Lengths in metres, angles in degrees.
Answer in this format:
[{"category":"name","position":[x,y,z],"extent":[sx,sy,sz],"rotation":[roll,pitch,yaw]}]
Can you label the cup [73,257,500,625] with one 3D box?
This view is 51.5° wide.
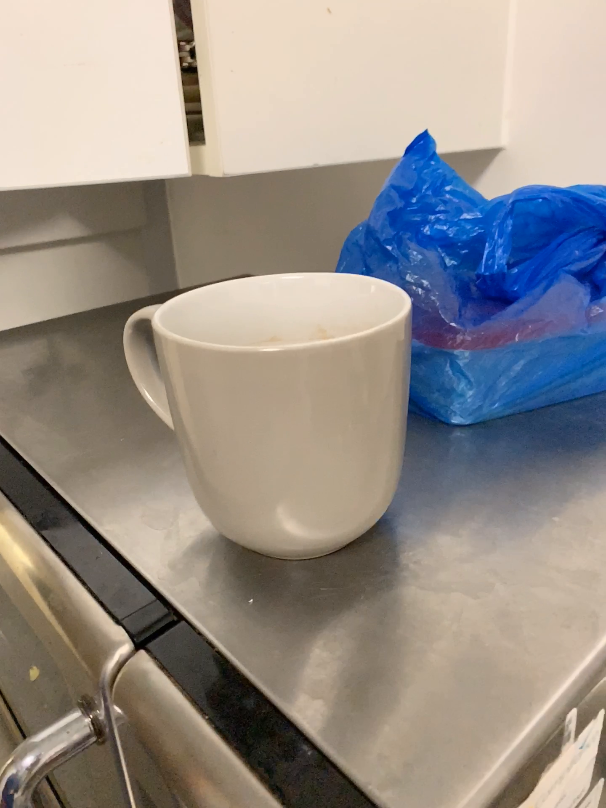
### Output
[{"category":"cup","position":[-0.009,-0.003,0.241],"extent":[0.094,0.077,0.129],"rotation":[-23,29,-36]}]
